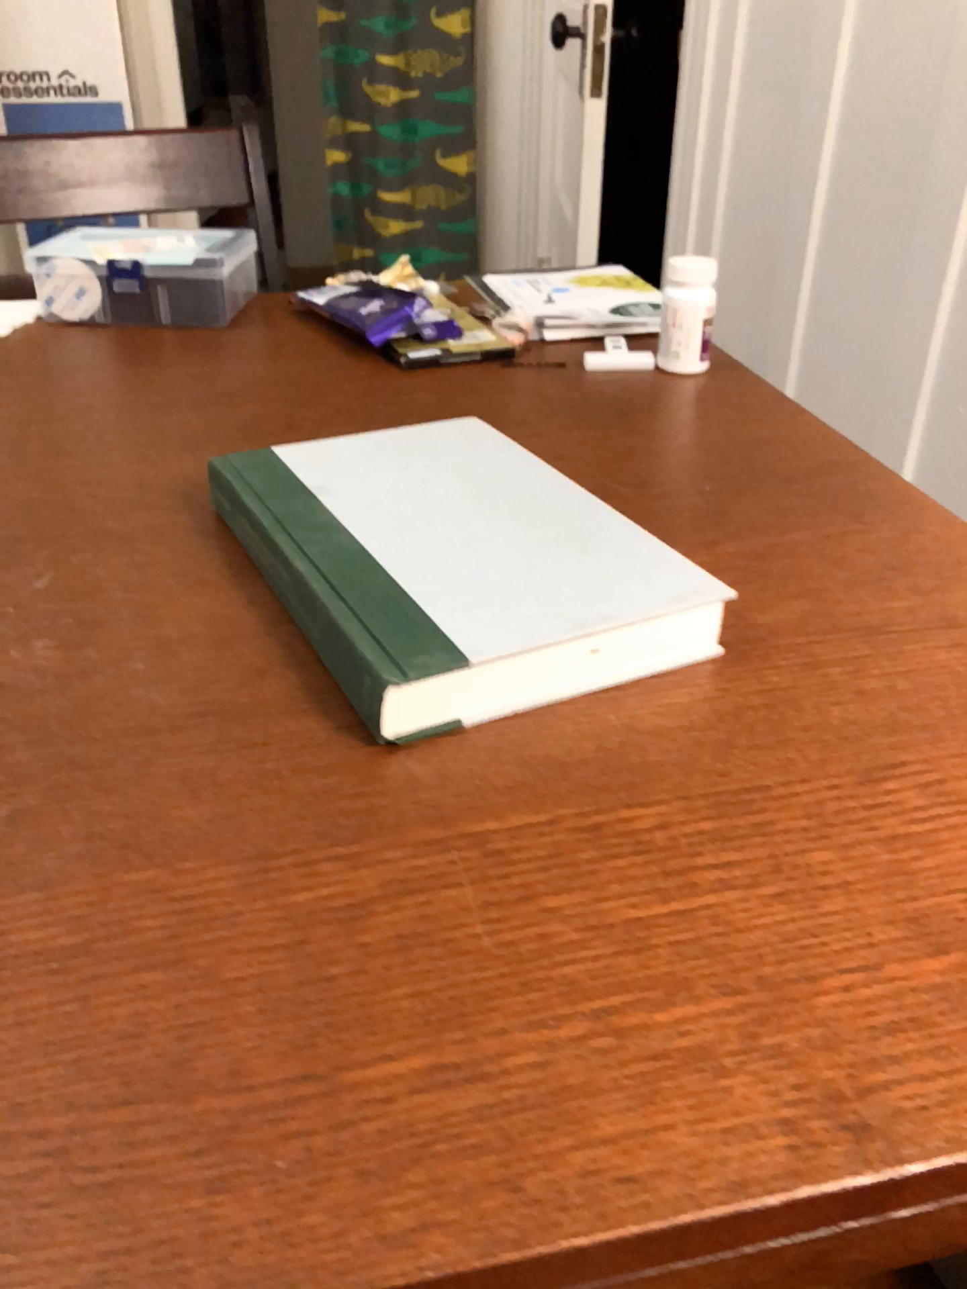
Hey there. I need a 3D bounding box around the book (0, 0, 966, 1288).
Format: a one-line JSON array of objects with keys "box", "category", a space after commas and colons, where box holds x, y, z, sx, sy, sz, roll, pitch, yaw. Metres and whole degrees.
[{"box": [0.146, -0.247, 0.118, 1.003, 0.994, 1.003, 27, 40, 36], "category": "book"}]
